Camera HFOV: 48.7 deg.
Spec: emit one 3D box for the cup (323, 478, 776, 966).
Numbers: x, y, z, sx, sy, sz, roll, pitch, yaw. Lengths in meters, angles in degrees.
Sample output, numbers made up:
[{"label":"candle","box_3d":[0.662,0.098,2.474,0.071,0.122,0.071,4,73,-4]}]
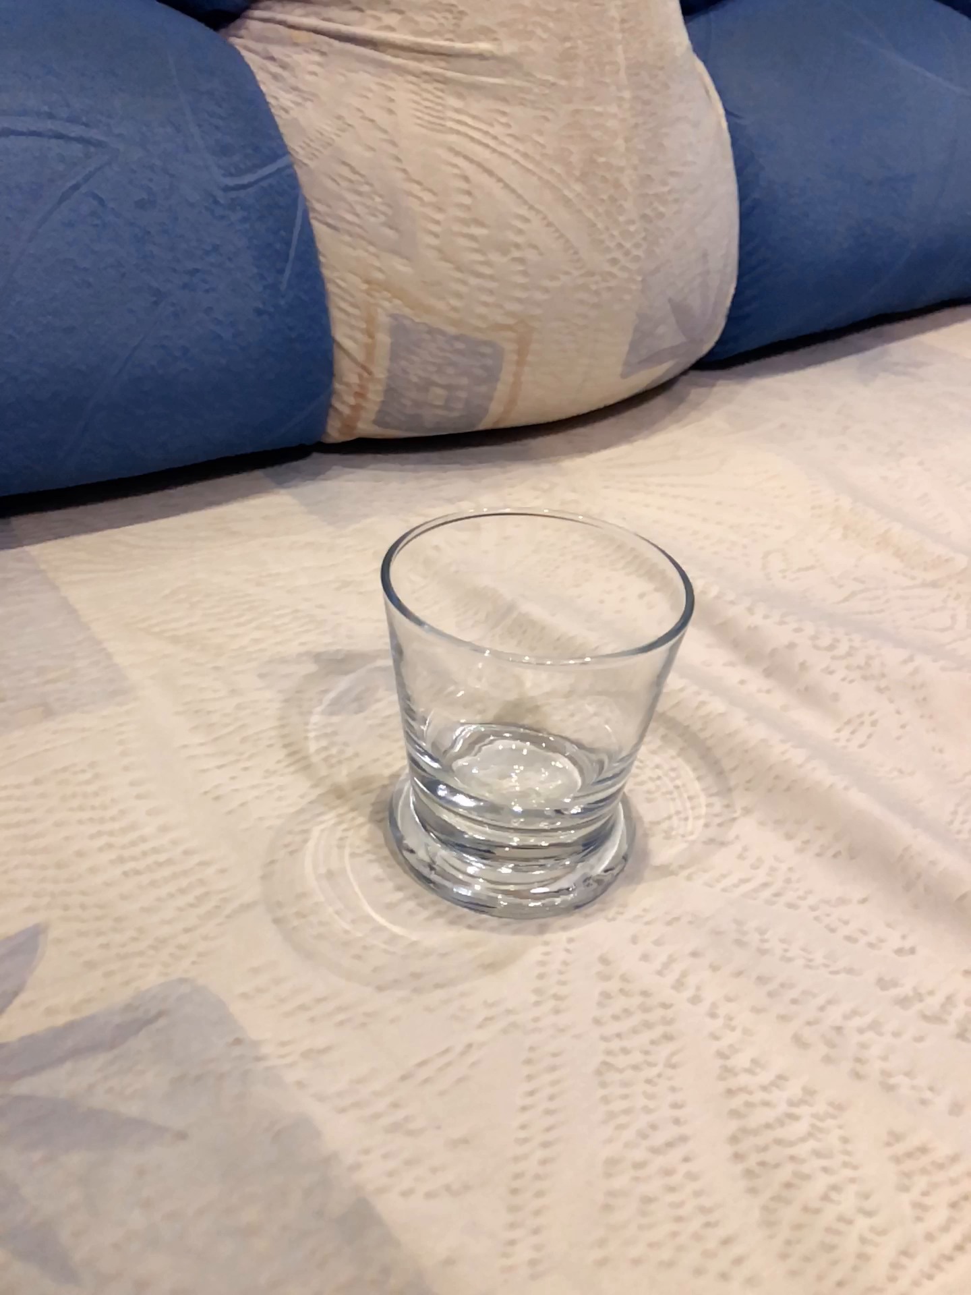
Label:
[{"label":"cup","box_3d":[0.011,0.015,0.298,0.085,0.083,0.087,2,33,-2]}]
